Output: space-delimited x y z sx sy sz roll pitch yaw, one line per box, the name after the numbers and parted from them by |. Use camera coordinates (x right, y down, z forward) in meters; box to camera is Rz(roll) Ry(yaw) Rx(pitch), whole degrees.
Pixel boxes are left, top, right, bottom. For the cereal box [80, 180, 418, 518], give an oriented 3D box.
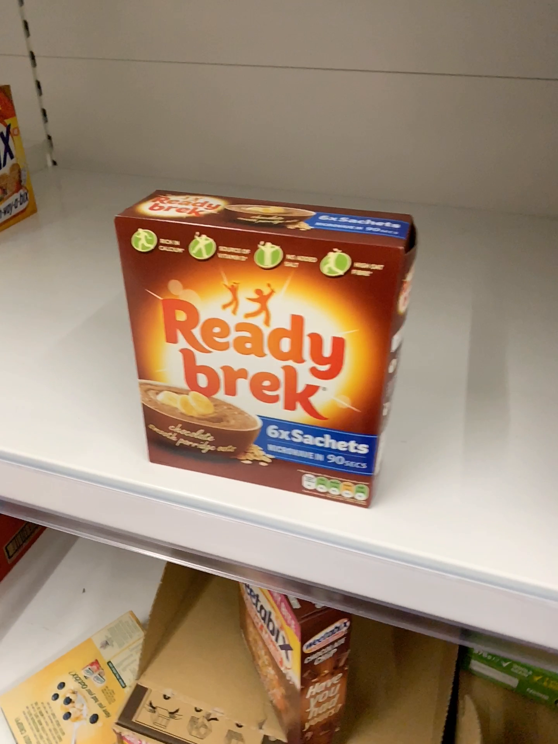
-0.016 -0.013 0.373 0.180 0.188 0.061 9 34 13 | cereal box
